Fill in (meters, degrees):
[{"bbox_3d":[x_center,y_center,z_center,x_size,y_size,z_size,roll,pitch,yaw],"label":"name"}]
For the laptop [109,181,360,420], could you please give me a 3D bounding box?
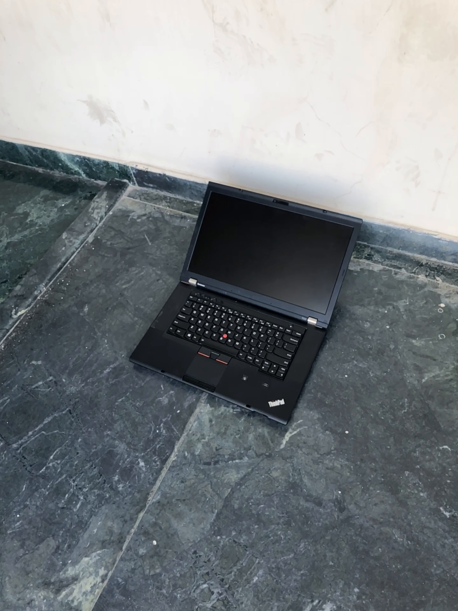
[{"bbox_3d":[0.027,-0.031,0.934,0.311,0.115,0.376,18,59,19],"label":"laptop"}]
